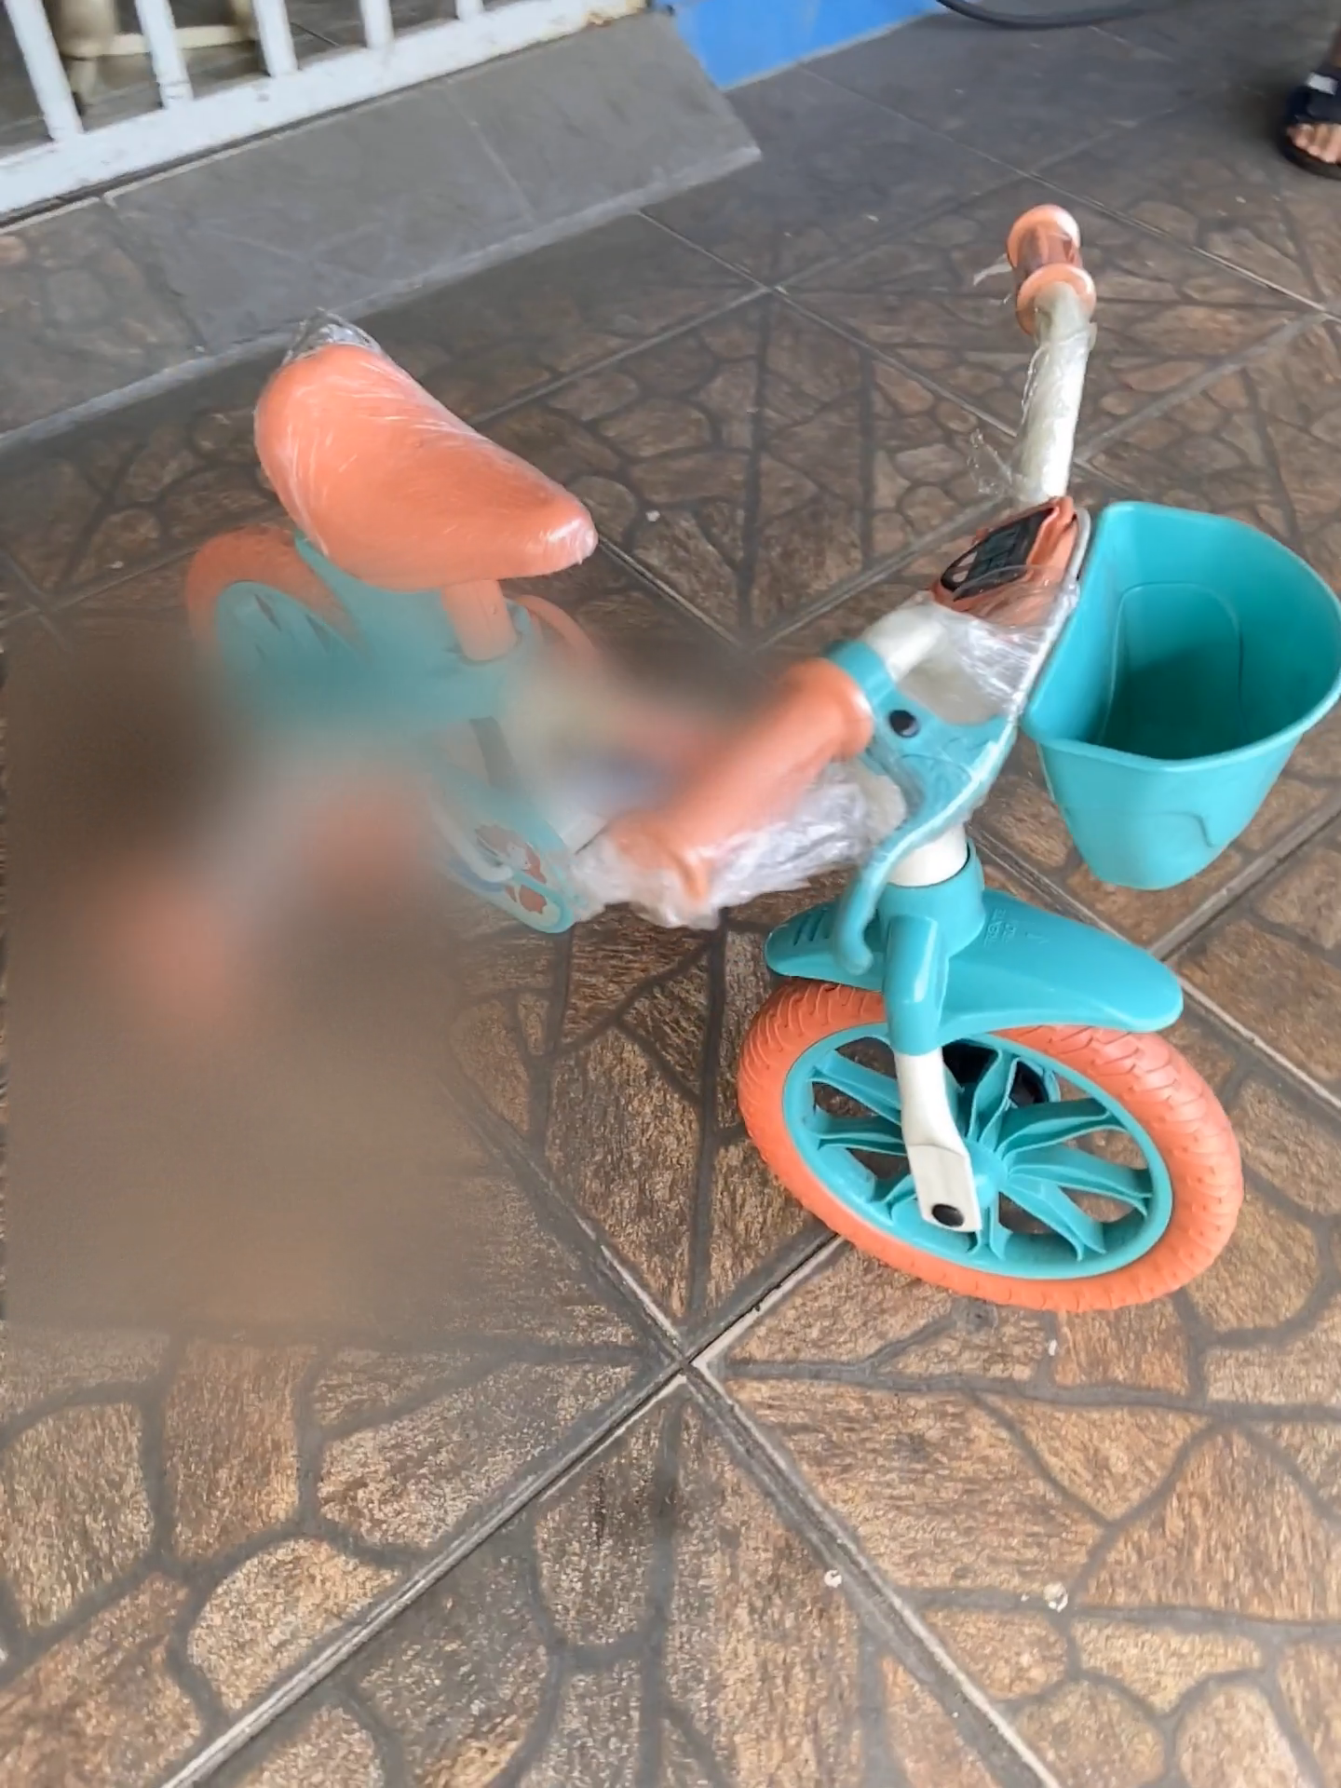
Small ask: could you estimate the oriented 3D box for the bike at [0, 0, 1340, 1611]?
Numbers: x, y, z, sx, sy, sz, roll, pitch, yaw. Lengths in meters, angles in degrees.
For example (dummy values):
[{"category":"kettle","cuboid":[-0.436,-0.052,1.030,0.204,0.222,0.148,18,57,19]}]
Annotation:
[{"category":"bike","cuboid":[-0.019,-0.120,0.796,0.807,0.534,0.500,28,56,24]}]
